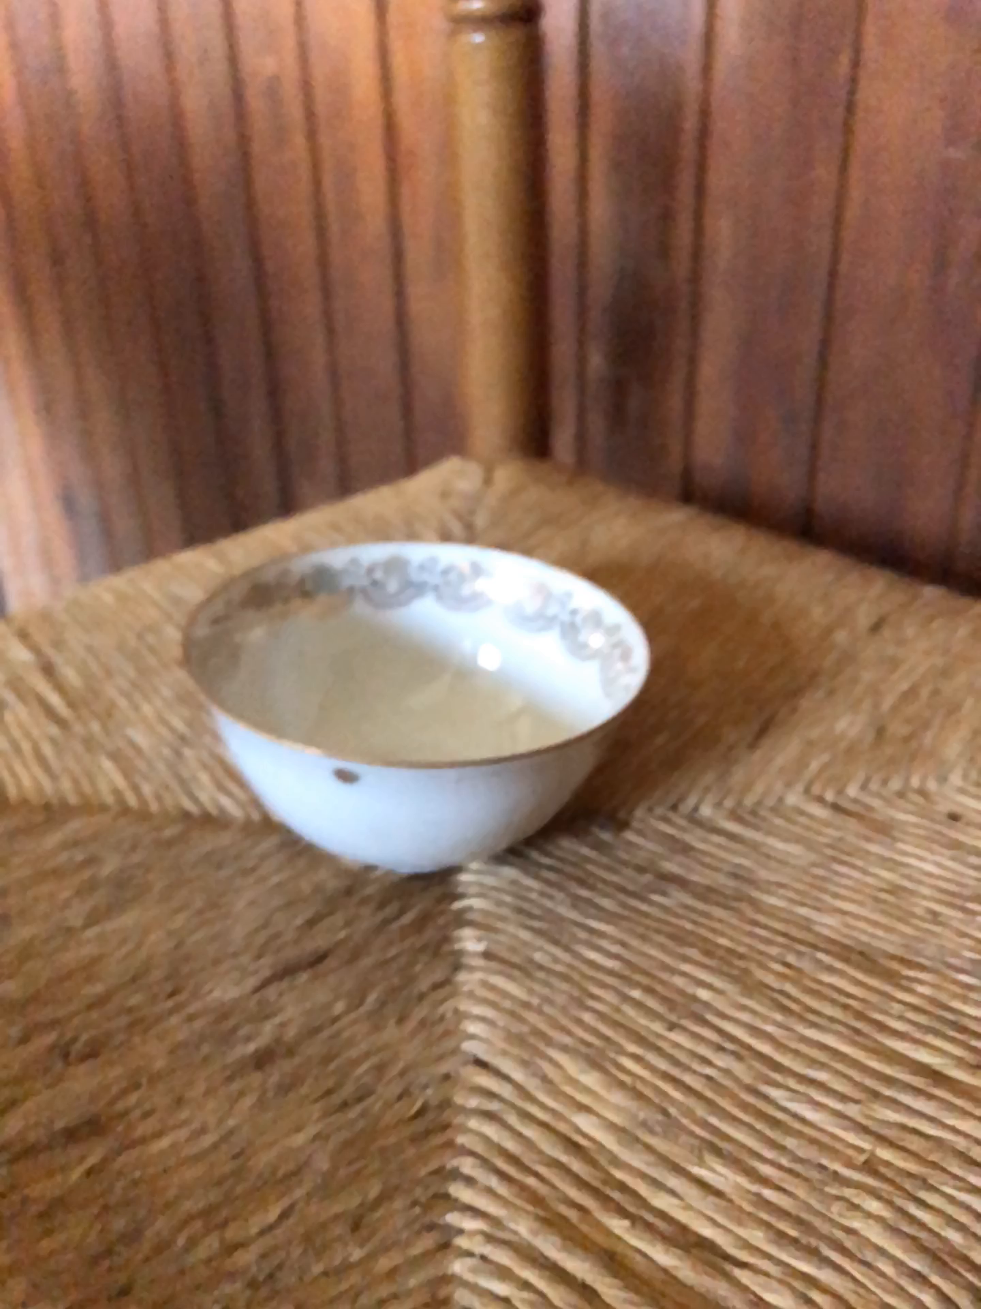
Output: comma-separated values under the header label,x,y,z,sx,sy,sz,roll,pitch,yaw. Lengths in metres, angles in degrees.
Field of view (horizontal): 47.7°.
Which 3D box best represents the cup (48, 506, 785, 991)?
label,x,y,z,sx,sy,sz,roll,pitch,yaw
cup,-0.020,0.008,0.295,0.141,0.040,0.130,2,25,-1
